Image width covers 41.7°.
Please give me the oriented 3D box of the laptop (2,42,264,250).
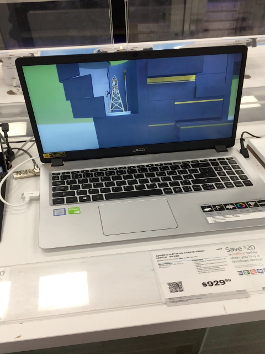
[{"bbox_3d":[0.033,-0.067,0.600,0.415,0.219,0.277,-7,42,-6],"label":"laptop"}]
